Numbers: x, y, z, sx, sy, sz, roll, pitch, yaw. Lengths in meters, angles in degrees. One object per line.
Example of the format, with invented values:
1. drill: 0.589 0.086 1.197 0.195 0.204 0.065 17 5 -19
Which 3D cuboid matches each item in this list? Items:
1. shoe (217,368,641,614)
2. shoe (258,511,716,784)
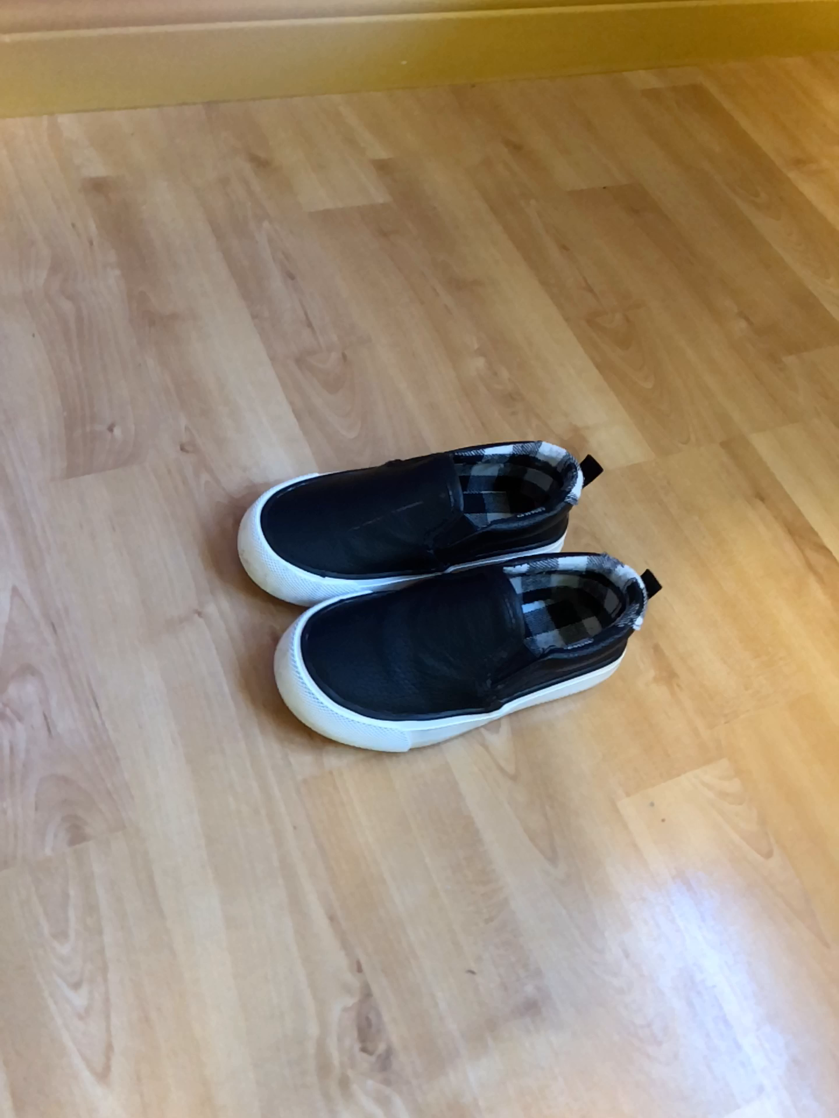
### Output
1. shoe: 0.000 -0.035 0.443 0.180 0.060 0.080 -7 59 -16
2. shoe: 0.025 0.036 0.413 0.180 0.060 0.080 -6 58 -15
